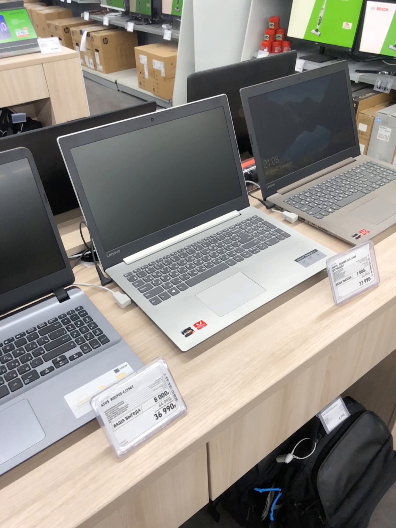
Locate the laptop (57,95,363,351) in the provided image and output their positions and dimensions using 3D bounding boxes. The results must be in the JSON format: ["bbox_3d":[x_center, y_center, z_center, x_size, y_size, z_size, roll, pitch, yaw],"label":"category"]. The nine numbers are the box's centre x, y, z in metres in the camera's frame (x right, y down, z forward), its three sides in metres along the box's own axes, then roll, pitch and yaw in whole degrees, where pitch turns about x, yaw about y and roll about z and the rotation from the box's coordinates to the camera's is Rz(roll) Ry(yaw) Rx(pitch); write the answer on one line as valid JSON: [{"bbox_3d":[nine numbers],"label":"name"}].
[{"bbox_3d":[0.016,-0.111,0.766,0.366,0.220,0.336,-26,43,-29],"label":"laptop"}]

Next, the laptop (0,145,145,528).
[{"bbox_3d":[-0.293,0.051,0.547,0.327,0.232,0.319,-25,42,-28],"label":"laptop"}]

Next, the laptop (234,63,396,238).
[{"bbox_3d":[0.344,-0.274,0.965,0.358,0.222,0.327,-27,44,-31],"label":"laptop"}]
